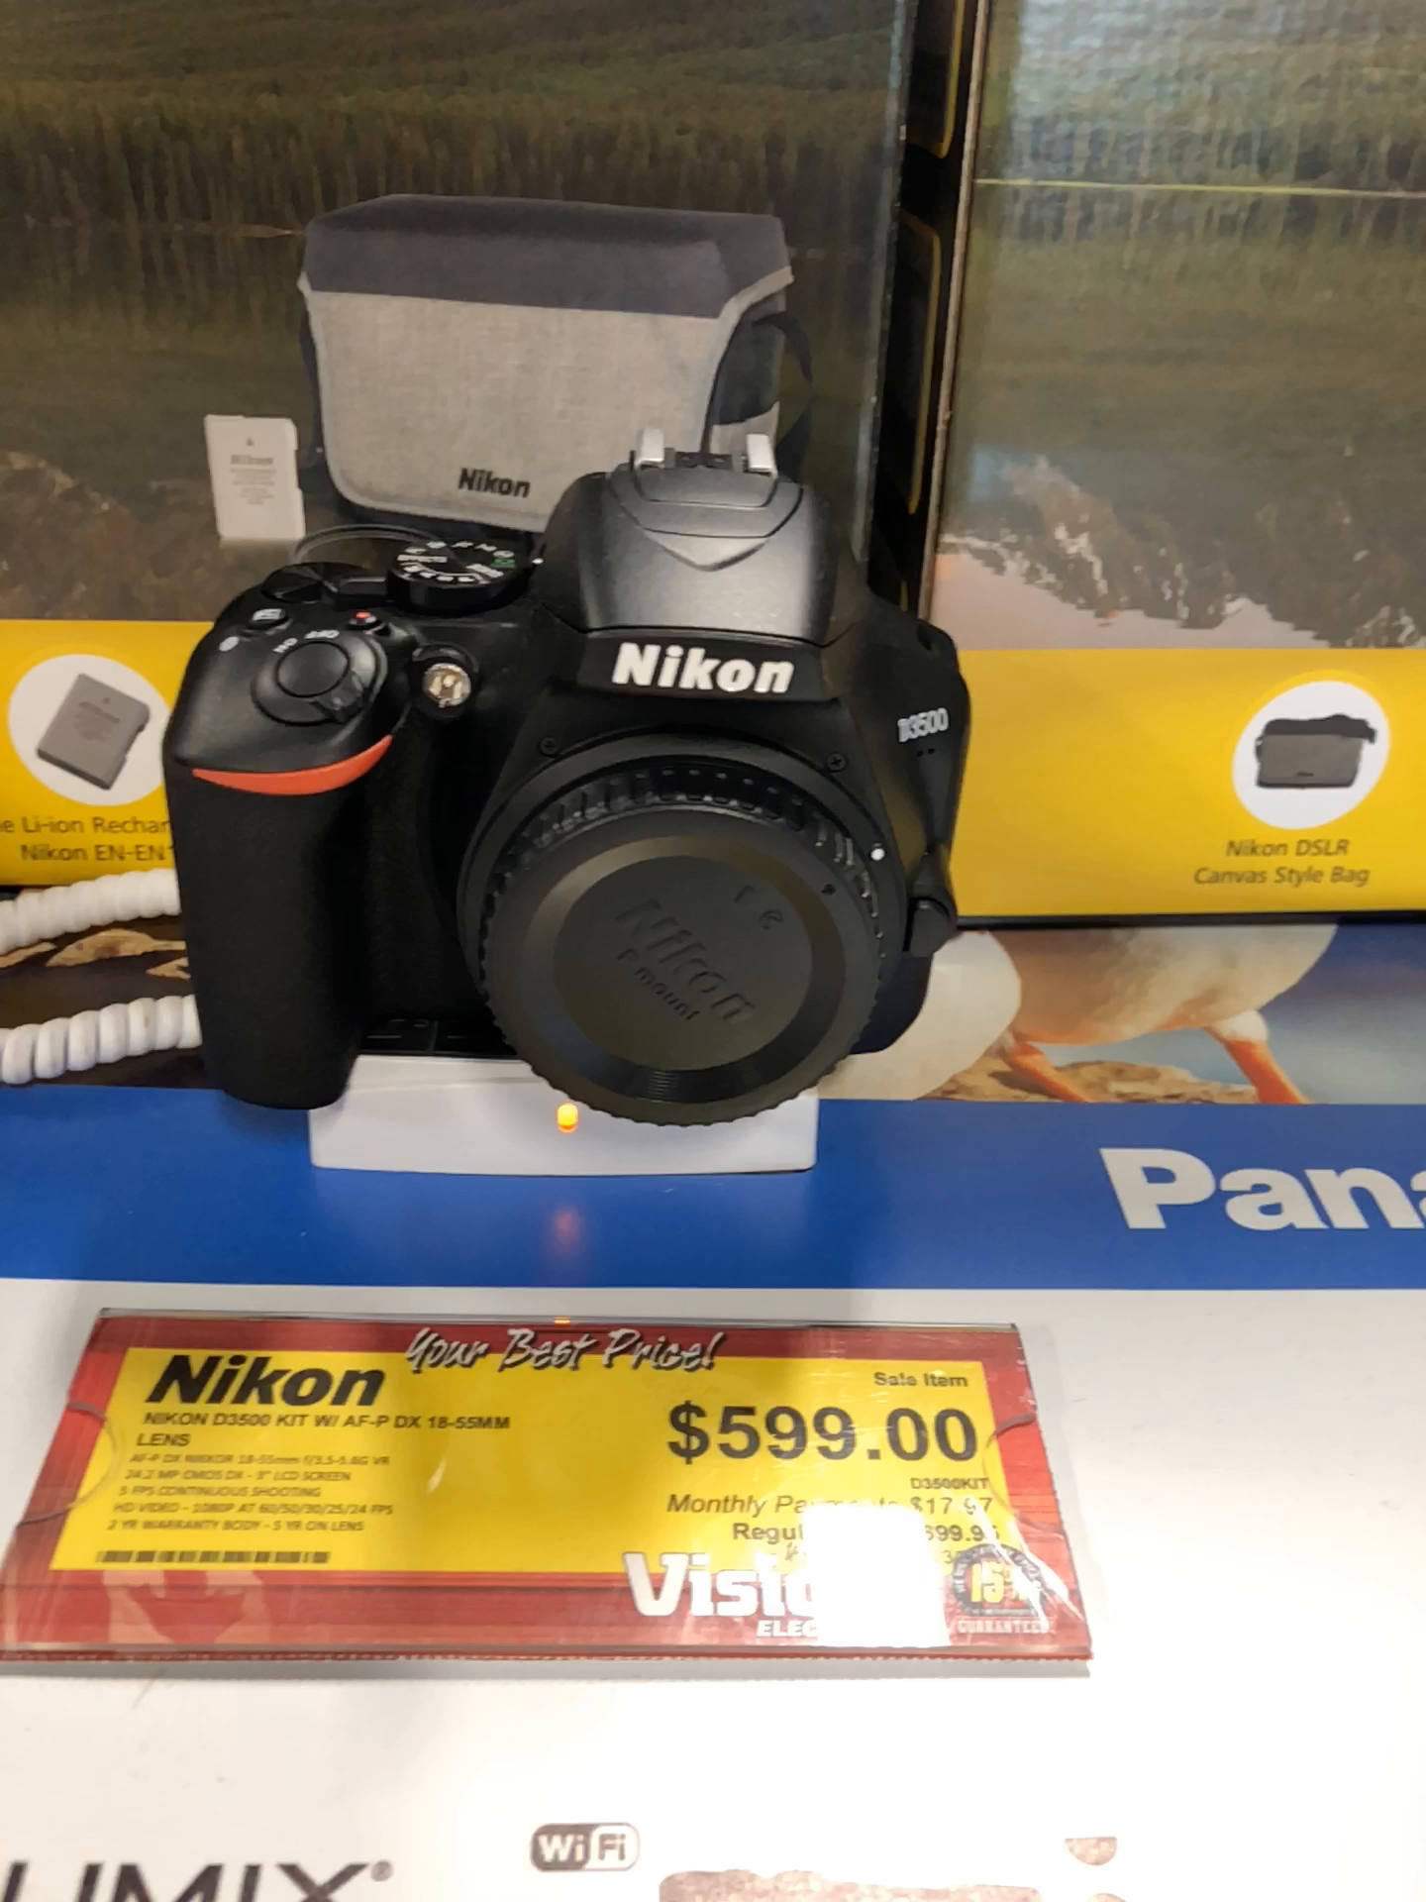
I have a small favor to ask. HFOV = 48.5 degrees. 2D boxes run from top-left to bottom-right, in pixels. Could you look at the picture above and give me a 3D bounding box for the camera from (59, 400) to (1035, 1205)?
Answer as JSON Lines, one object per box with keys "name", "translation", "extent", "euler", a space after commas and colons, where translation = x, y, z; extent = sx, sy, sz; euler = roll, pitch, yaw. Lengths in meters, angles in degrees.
{"name": "camera", "translation": [-0.022, -0.026, 0.255], "extent": [0.120, 0.099, 0.081], "euler": [2, 32, -1]}
